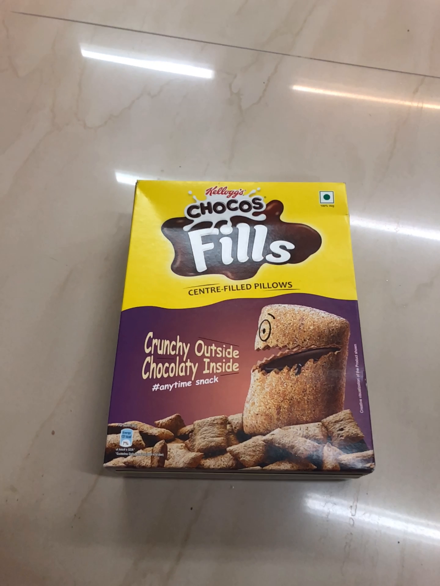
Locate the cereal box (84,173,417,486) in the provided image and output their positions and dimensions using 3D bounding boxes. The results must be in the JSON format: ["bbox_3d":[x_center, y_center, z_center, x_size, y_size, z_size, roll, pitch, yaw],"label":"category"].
[{"bbox_3d":[0.020,0.022,0.377,0.200,0.070,0.231,1,63,0],"label":"cereal box"}]
